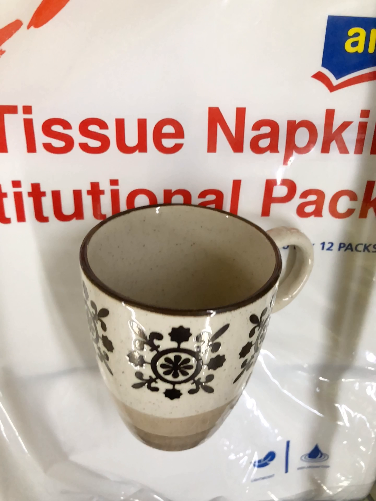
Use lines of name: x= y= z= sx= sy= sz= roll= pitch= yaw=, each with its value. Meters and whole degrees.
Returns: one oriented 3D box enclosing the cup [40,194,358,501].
cup: x=0.001 y=0.046 z=0.190 sx=0.100 sy=0.070 sz=0.110 roll=-15 pitch=125 yaw=-30
